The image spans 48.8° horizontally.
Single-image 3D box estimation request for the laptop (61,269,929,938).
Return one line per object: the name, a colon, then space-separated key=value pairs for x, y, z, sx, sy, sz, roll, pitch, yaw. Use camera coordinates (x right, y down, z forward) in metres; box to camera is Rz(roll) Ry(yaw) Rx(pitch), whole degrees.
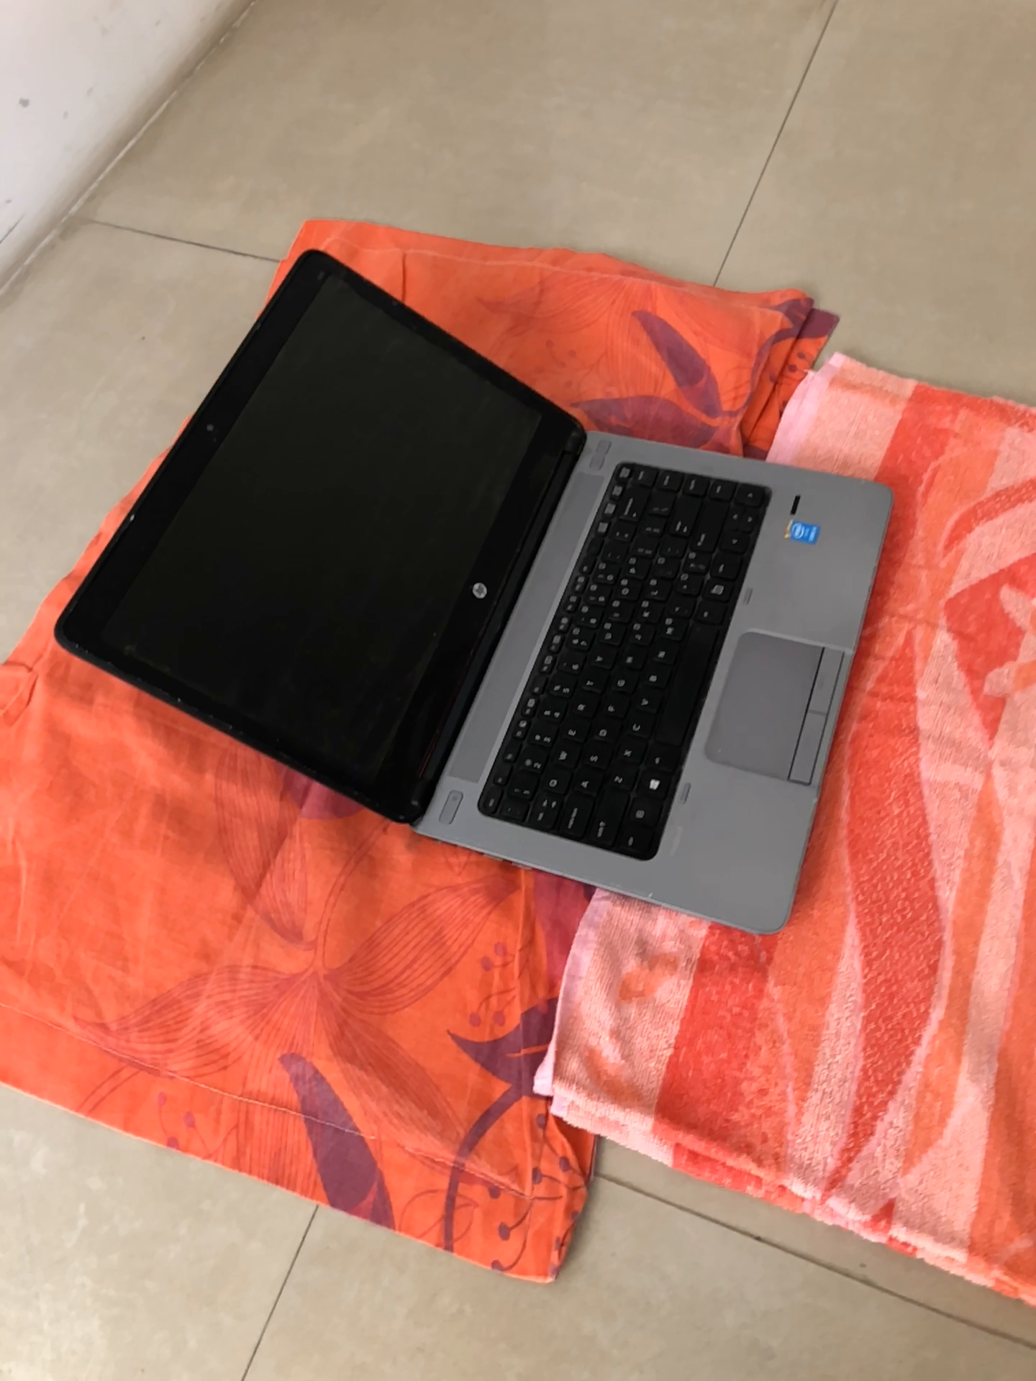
laptop: x=0.000 y=-0.078 z=0.700 sx=0.410 sy=0.111 sz=0.329 roll=15 pitch=61 yaw=15
